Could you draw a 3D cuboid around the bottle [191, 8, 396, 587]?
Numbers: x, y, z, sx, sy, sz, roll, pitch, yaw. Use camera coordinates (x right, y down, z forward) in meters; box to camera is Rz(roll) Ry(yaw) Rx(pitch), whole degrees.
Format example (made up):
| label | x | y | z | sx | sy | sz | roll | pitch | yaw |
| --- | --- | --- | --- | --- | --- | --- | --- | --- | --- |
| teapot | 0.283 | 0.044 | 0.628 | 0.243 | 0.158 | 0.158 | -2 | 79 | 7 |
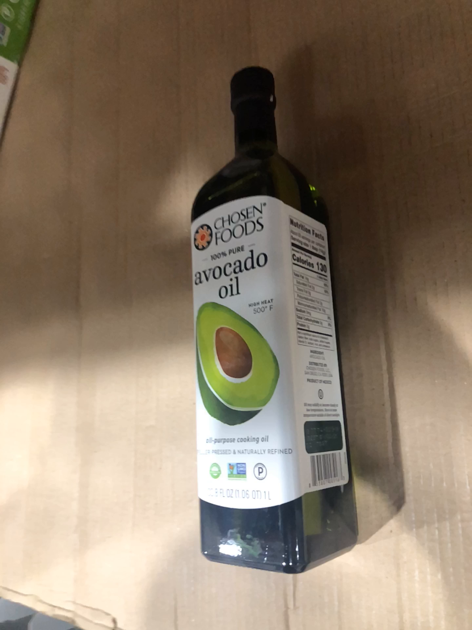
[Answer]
| label | x | y | z | sx | sy | sz | roll | pitch | yaw |
| --- | --- | --- | --- | --- | --- | --- | --- | --- | --- |
| bottle | 0.031 | -0.016 | 0.333 | 0.087 | 0.074 | 0.320 | -11 | 74 | 36 |
